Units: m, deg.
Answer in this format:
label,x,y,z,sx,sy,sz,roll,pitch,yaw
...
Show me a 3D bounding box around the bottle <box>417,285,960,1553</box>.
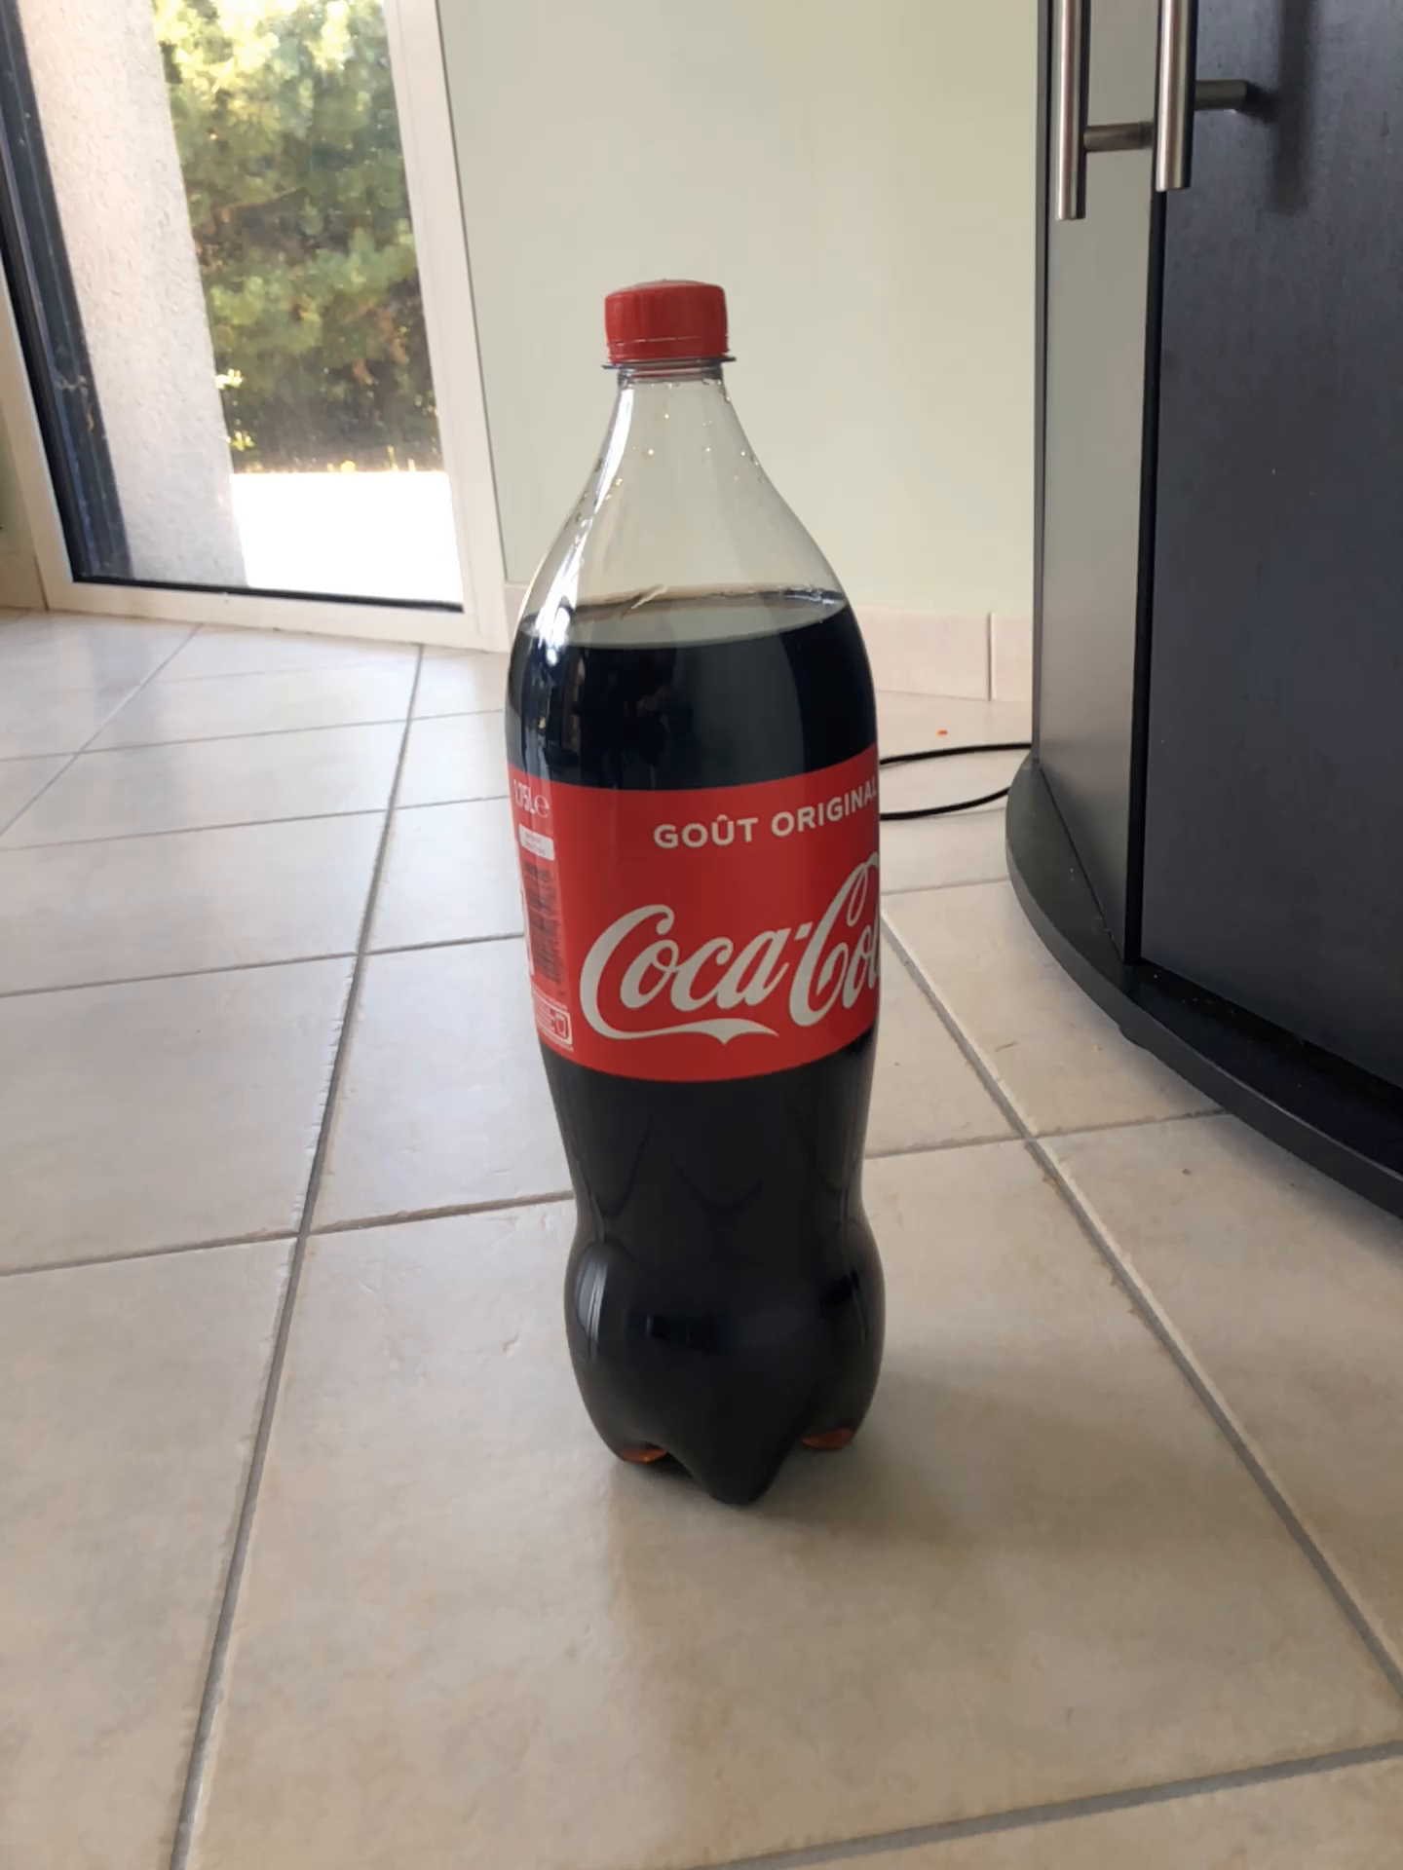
label,x,y,z,sx,sy,sz,roll,pitch,yaw
bottle,0.000,-0.002,0.413,0.110,0.309,0.100,-3,21,1
